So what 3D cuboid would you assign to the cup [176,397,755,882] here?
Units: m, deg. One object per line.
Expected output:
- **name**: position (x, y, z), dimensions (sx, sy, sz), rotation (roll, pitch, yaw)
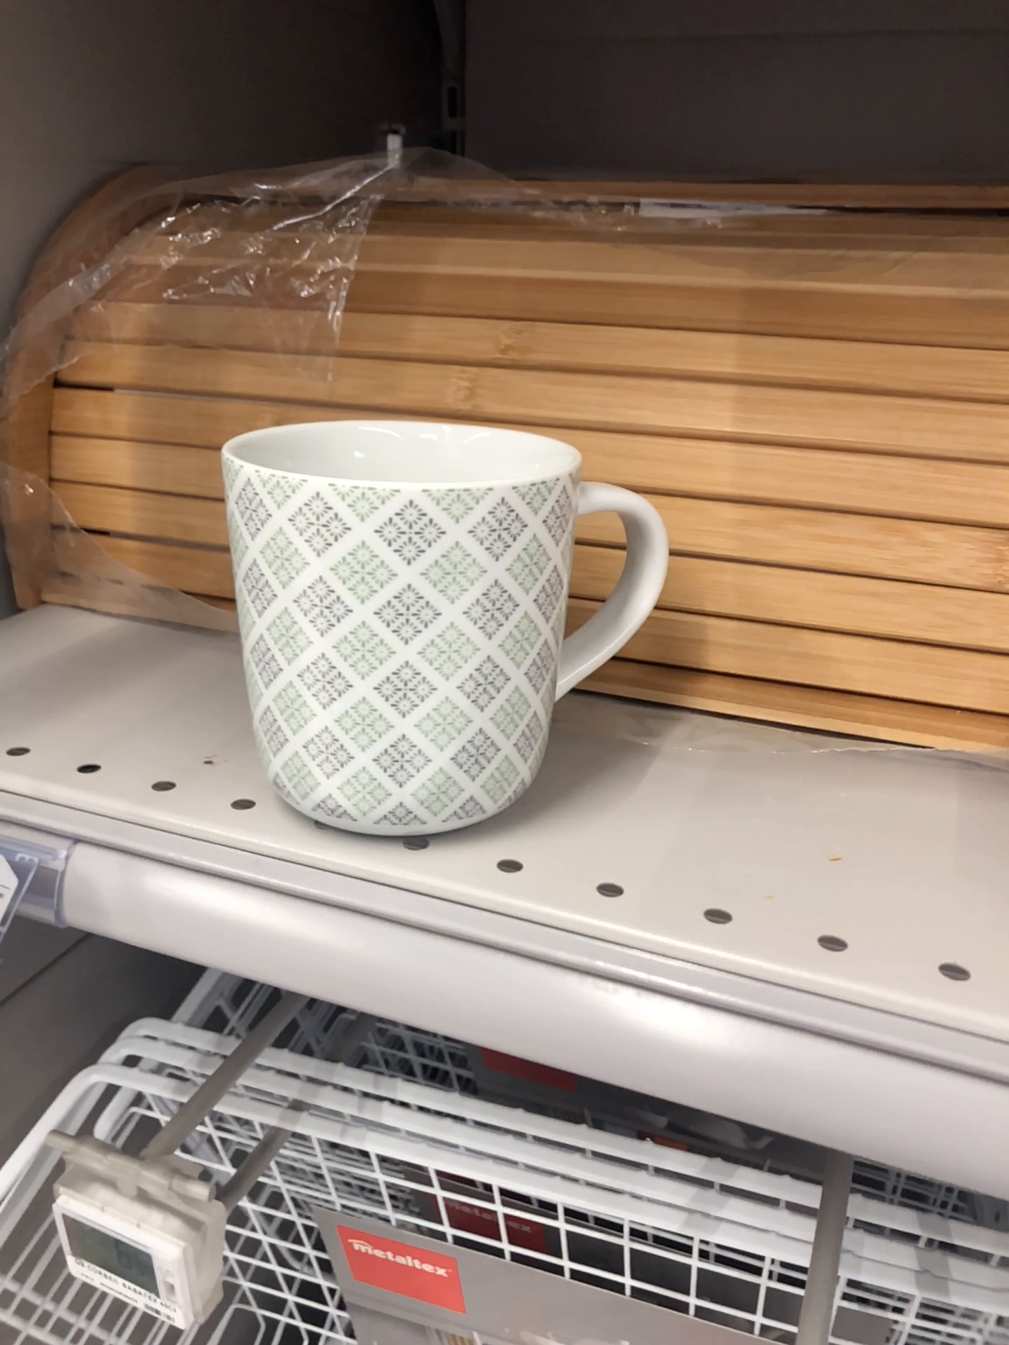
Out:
- **cup**: position (-0.013, -0.019, 0.296), dimensions (0.119, 0.090, 0.086), rotation (-10, 24, -29)
